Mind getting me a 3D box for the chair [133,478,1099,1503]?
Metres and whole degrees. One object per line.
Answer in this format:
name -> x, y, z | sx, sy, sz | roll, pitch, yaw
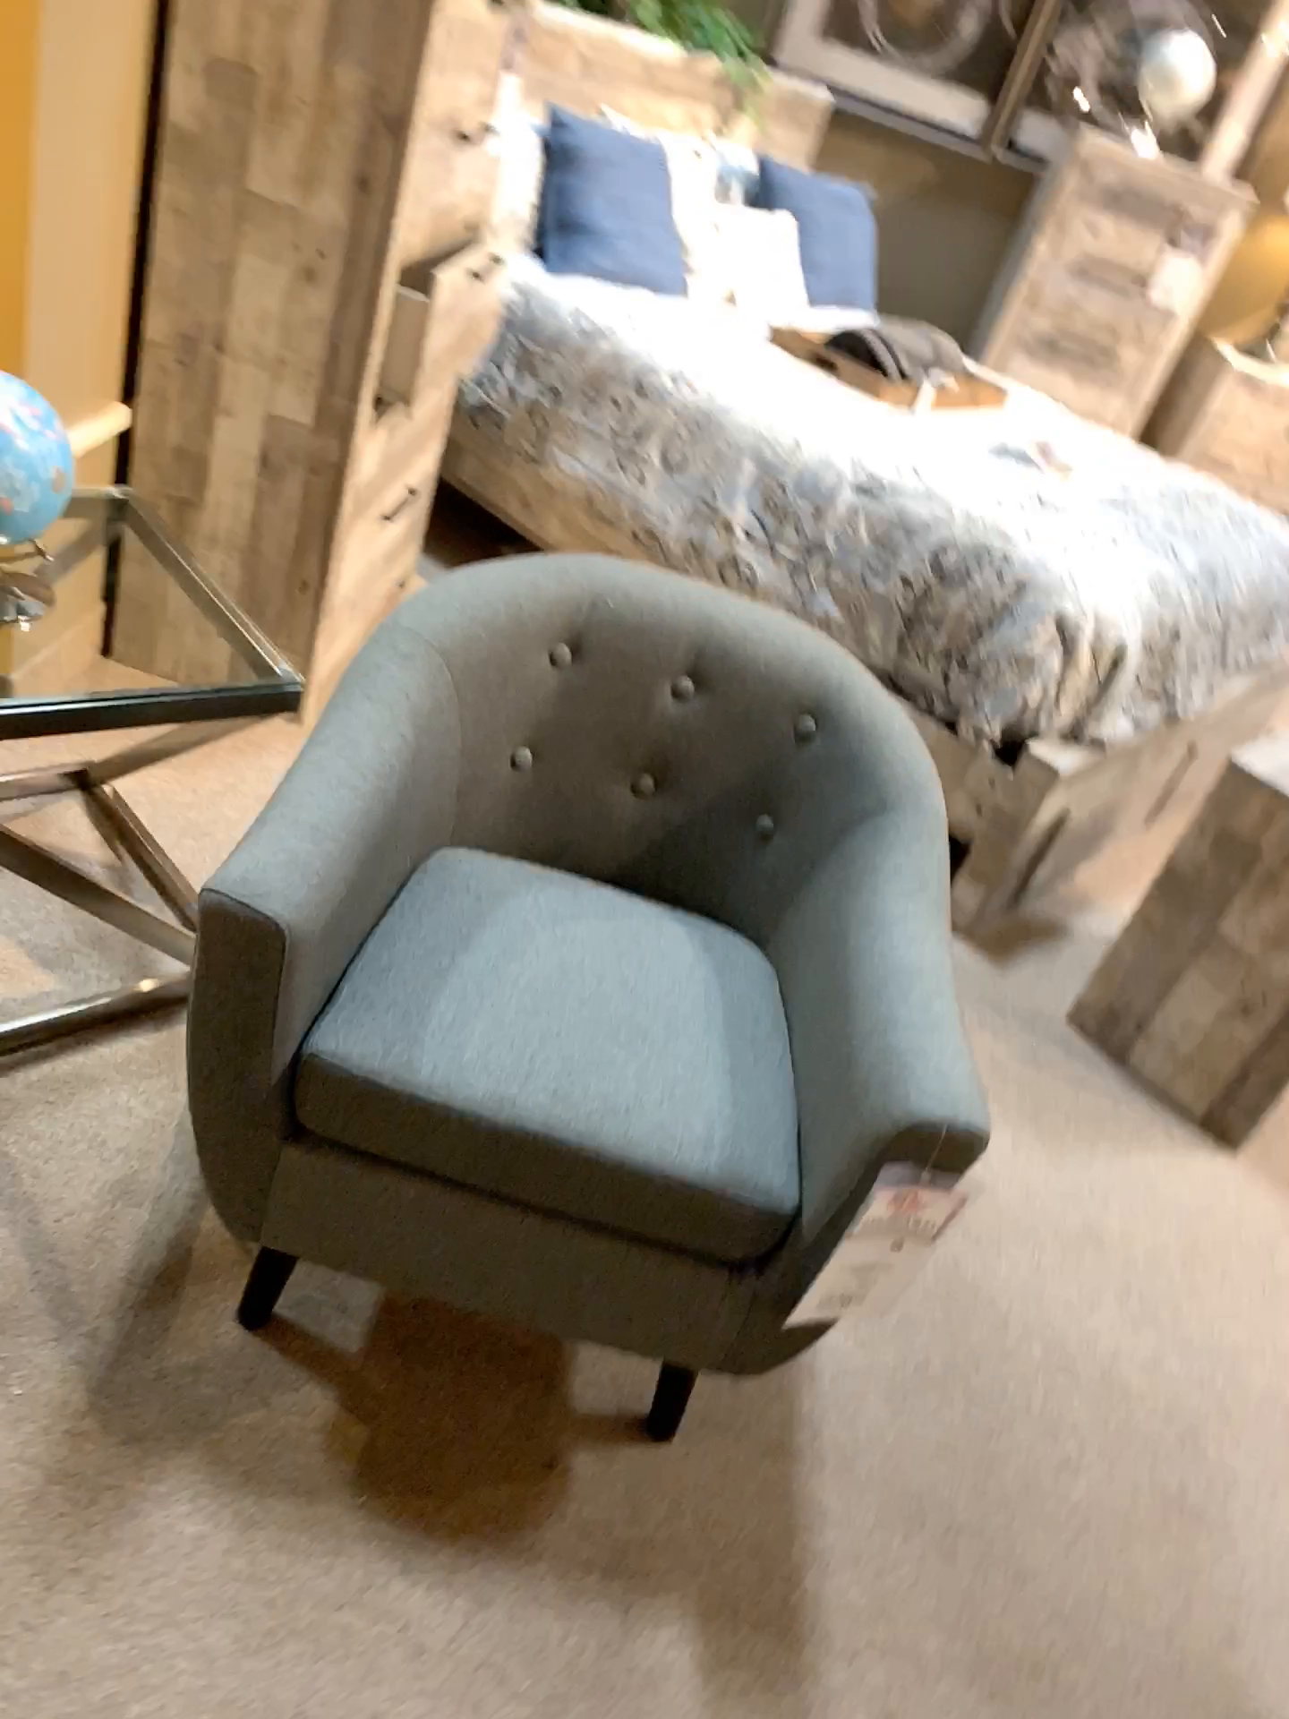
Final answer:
chair -> -0.041, 0.114, 1.551 | 0.747, 0.701, 0.745 | 18, 33, -3
